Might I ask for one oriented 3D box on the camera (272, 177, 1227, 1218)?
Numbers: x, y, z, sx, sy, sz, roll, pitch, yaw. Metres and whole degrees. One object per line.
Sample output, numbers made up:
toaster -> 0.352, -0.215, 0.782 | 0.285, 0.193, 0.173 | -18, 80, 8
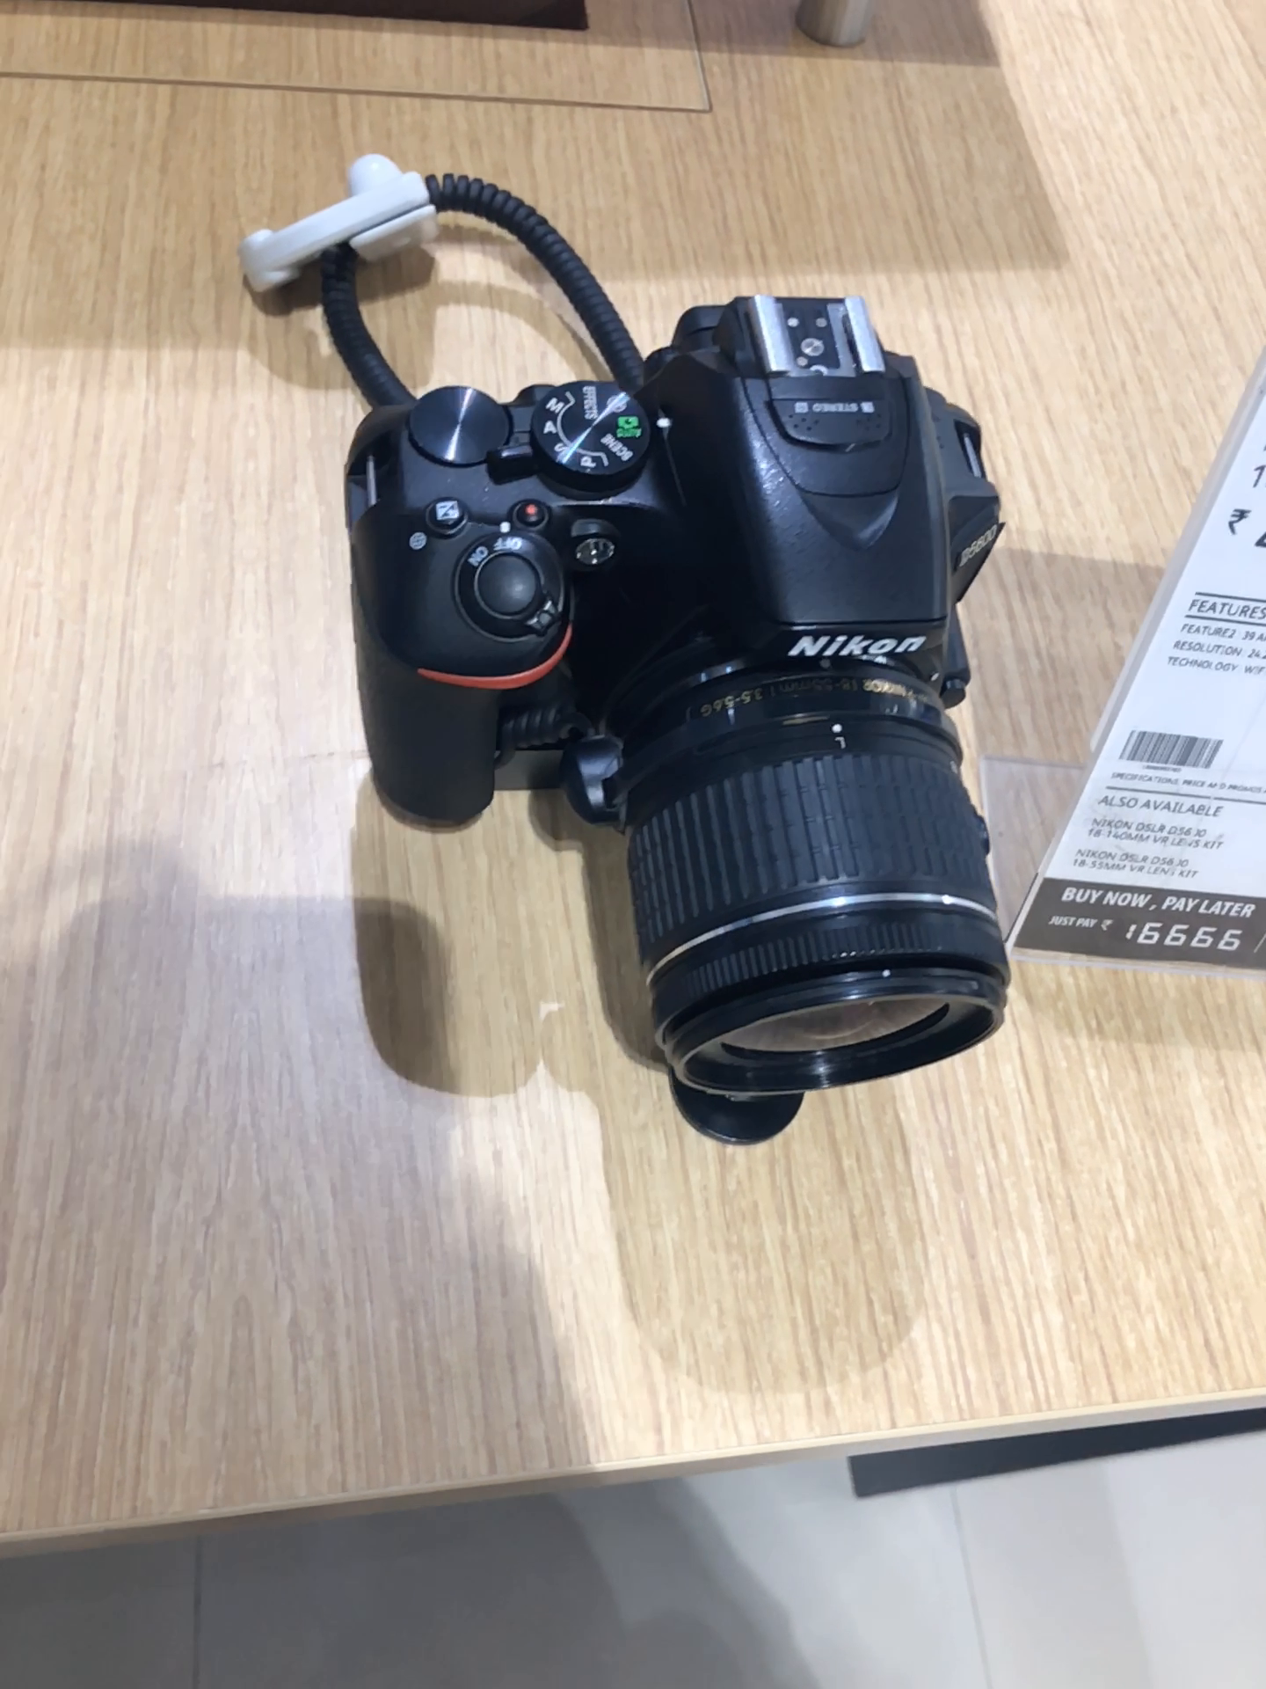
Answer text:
camera -> 0.004, -0.027, 0.269 | 0.130, 0.100, 0.161 | -3, 63, -11
